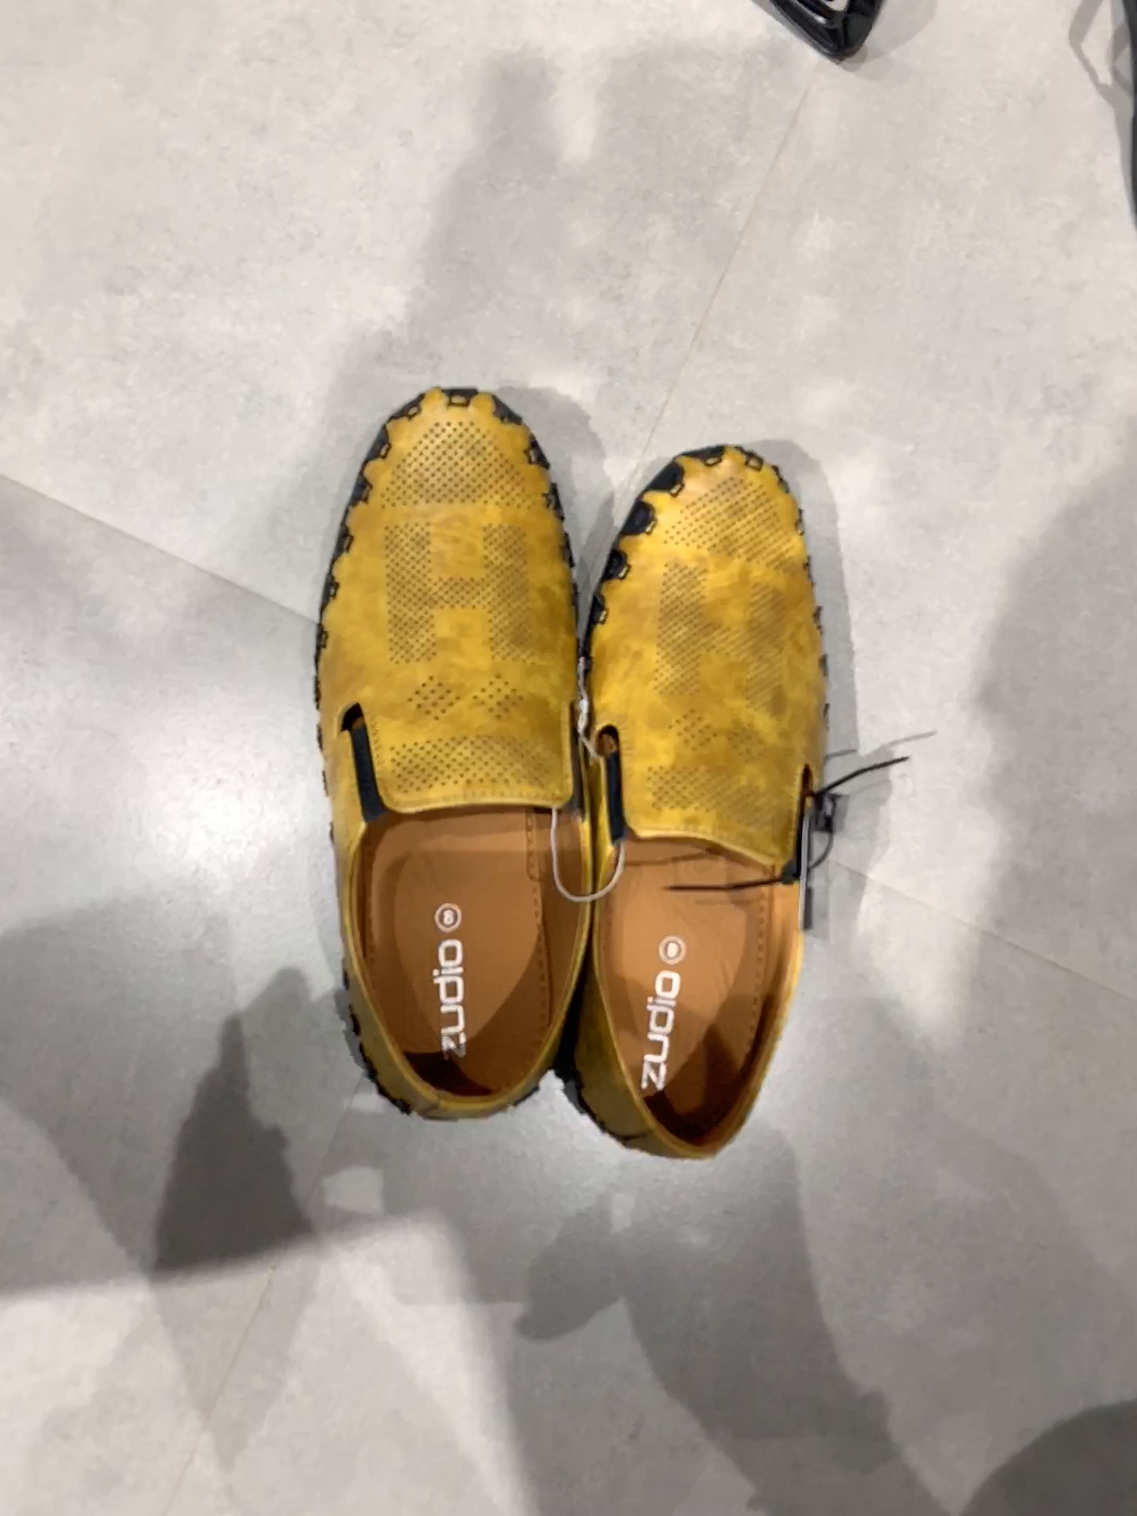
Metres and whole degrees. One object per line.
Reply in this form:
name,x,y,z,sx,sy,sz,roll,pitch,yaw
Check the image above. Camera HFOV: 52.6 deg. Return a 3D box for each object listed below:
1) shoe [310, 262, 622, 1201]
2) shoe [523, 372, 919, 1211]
shoe,-0.042,-0.008,0.456,0.100,0.120,0.320,2,85,-9
shoe,0.057,0.013,0.451,0.110,0.080,0.290,7,84,-8
